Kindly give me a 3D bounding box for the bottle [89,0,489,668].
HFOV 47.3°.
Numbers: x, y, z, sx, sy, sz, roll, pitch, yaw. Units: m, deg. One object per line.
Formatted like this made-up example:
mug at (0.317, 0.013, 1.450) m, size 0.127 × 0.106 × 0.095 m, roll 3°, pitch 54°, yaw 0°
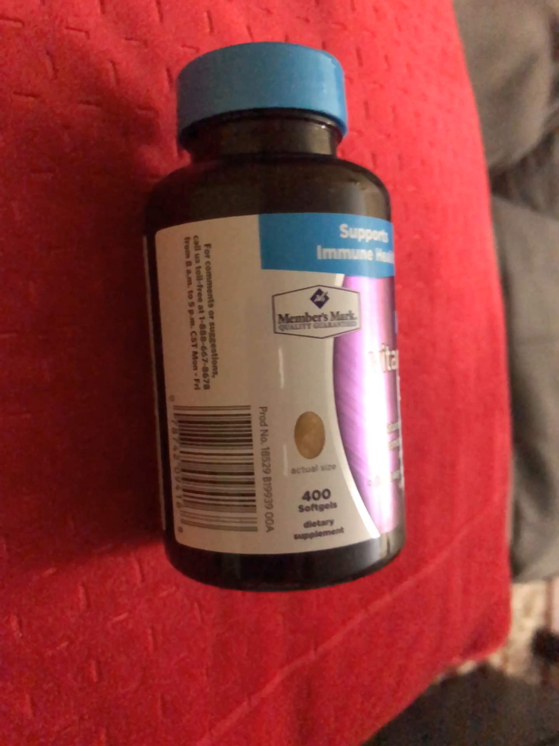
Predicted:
bottle at (0.004, -0.020, 0.156) m, size 0.070 × 0.060 × 0.140 m, roll -7°, pitch 96°, yaw -40°
